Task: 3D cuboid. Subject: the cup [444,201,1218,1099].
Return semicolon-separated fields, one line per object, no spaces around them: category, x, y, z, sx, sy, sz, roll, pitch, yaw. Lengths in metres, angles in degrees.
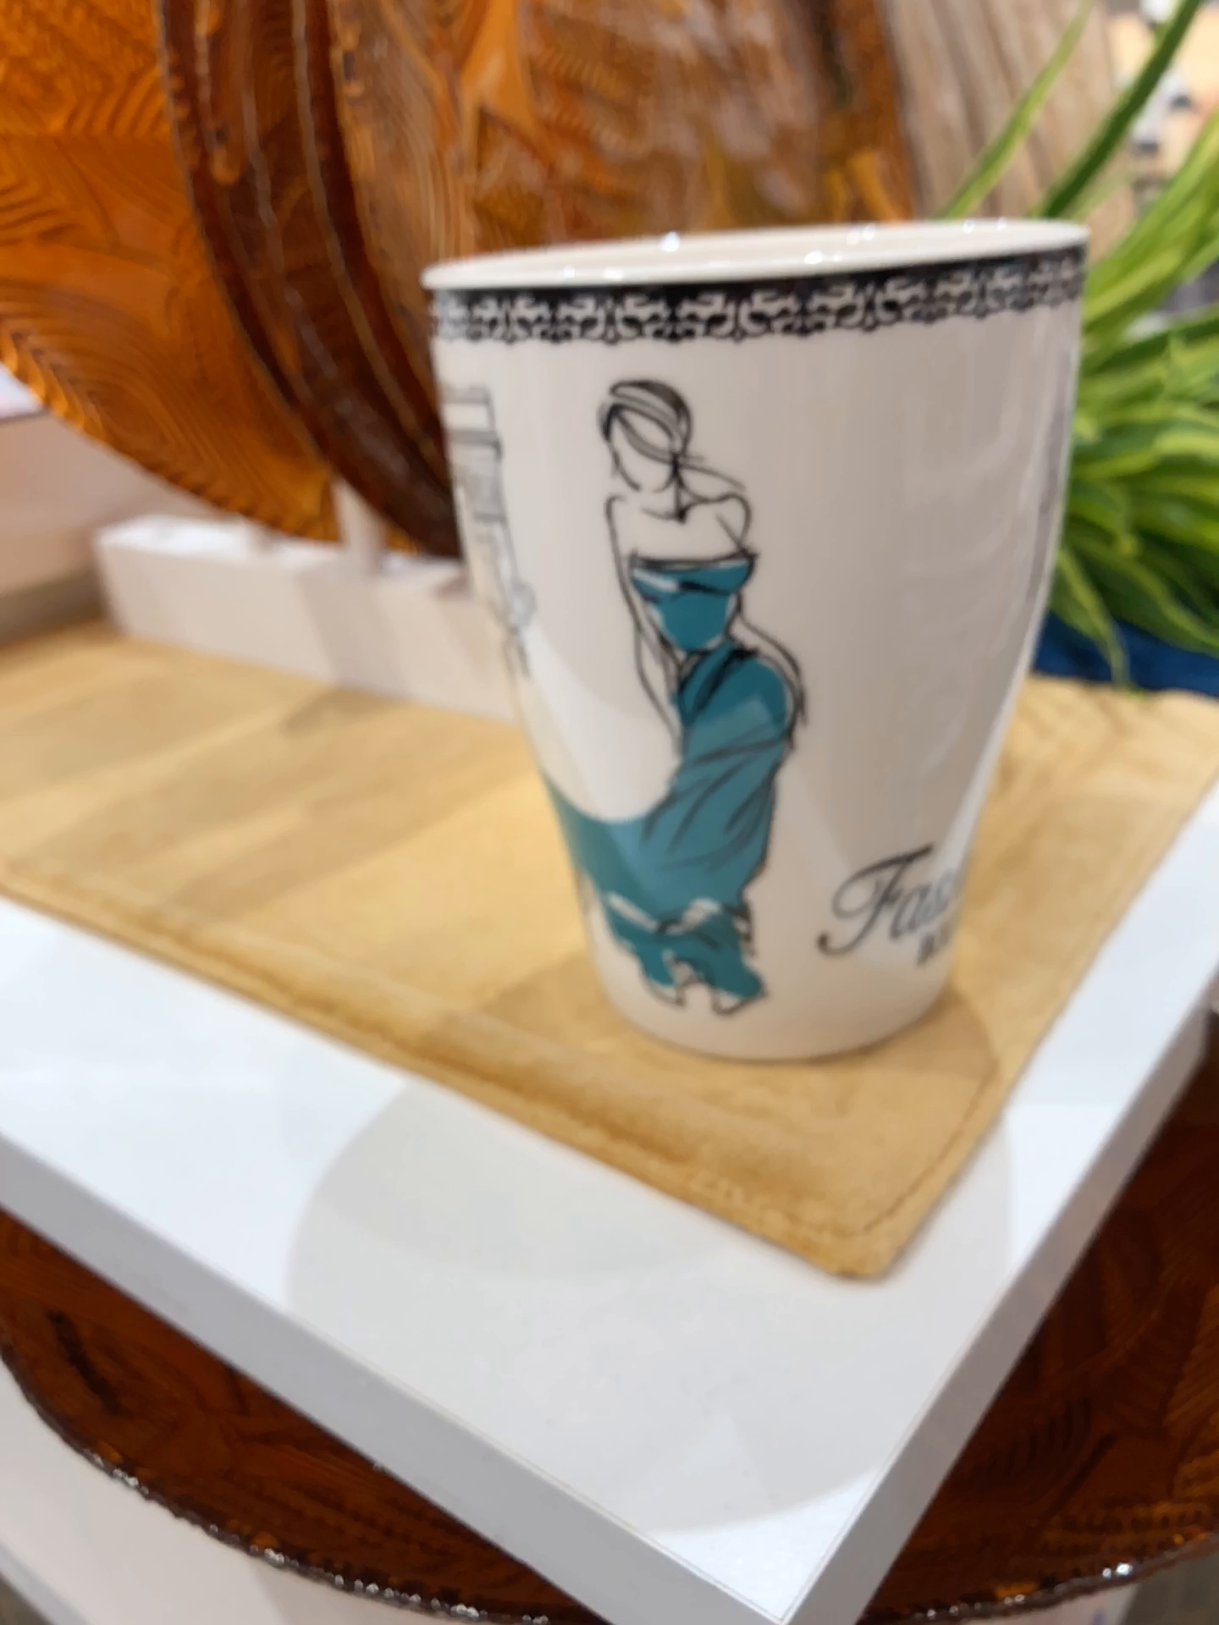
cup;0.028;-0.033;0.210;0.080;0.100;0.110;-3;24;3
